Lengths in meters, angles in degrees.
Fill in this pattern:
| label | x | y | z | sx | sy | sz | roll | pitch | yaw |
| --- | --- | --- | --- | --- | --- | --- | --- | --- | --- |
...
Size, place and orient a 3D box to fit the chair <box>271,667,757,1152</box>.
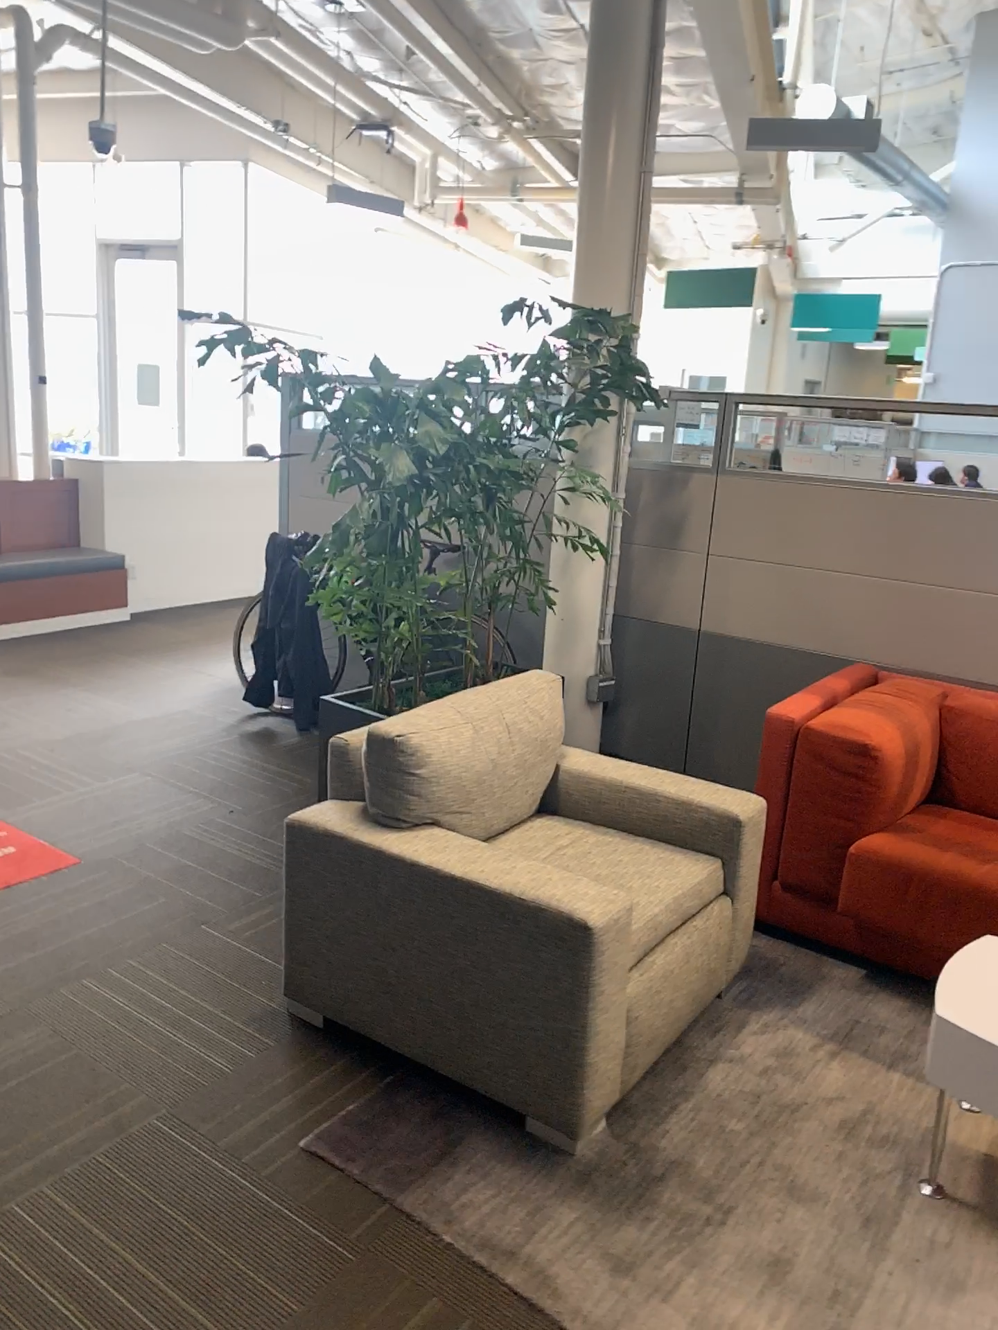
| label | x | y | z | sx | sy | sz | roll | pitch | yaw |
| --- | --- | --- | --- | --- | --- | --- | --- | --- | --- |
| chair | 0.055 | 0.518 | 2.665 | 0.872 | 0.727 | 0.921 | 12 | 16 | 32 |
